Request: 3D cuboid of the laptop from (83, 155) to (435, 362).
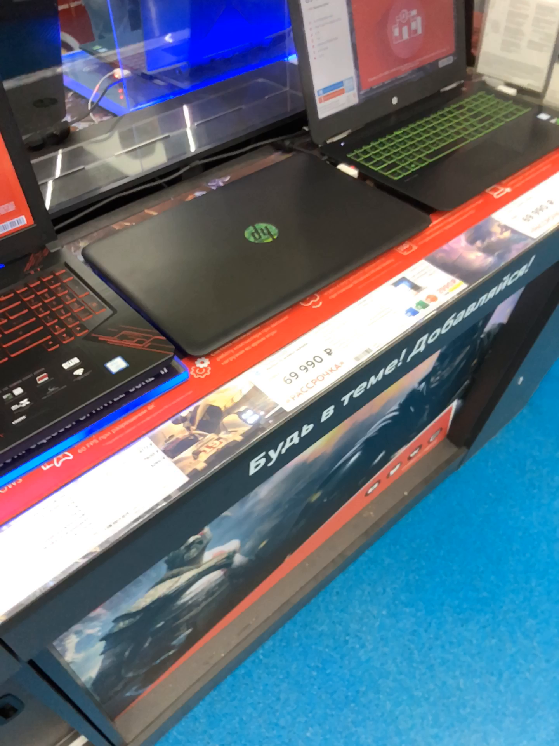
[{"bbox_3d":[-0.018,-0.164,0.762,0.366,0.012,0.233,-32,55,-27],"label":"laptop"}]
